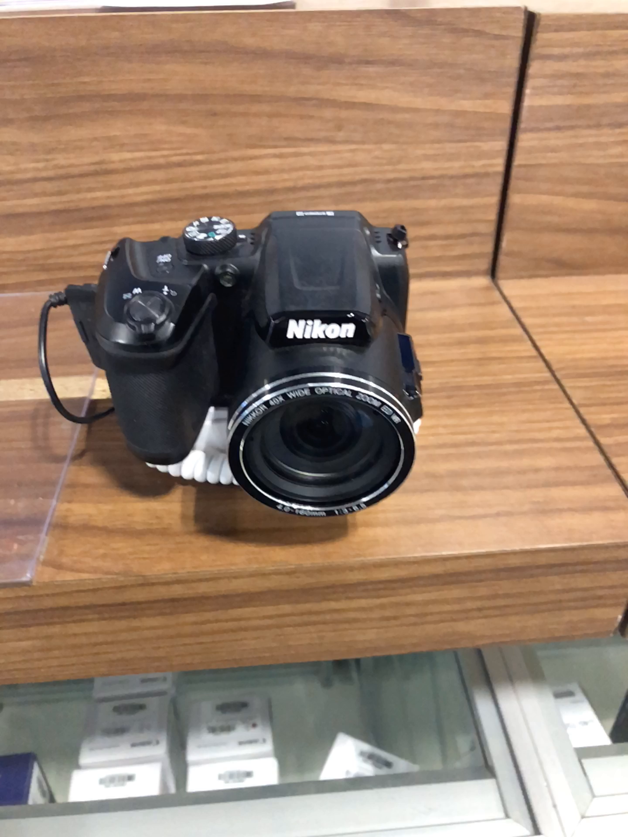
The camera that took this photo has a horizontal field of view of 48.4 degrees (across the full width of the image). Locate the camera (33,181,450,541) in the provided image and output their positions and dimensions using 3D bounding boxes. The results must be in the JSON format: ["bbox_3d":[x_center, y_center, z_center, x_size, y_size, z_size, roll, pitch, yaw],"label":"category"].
[{"bbox_3d":[-0.021,-0.027,0.253,0.110,0.079,0.111,-3,36,-2],"label":"camera"}]
